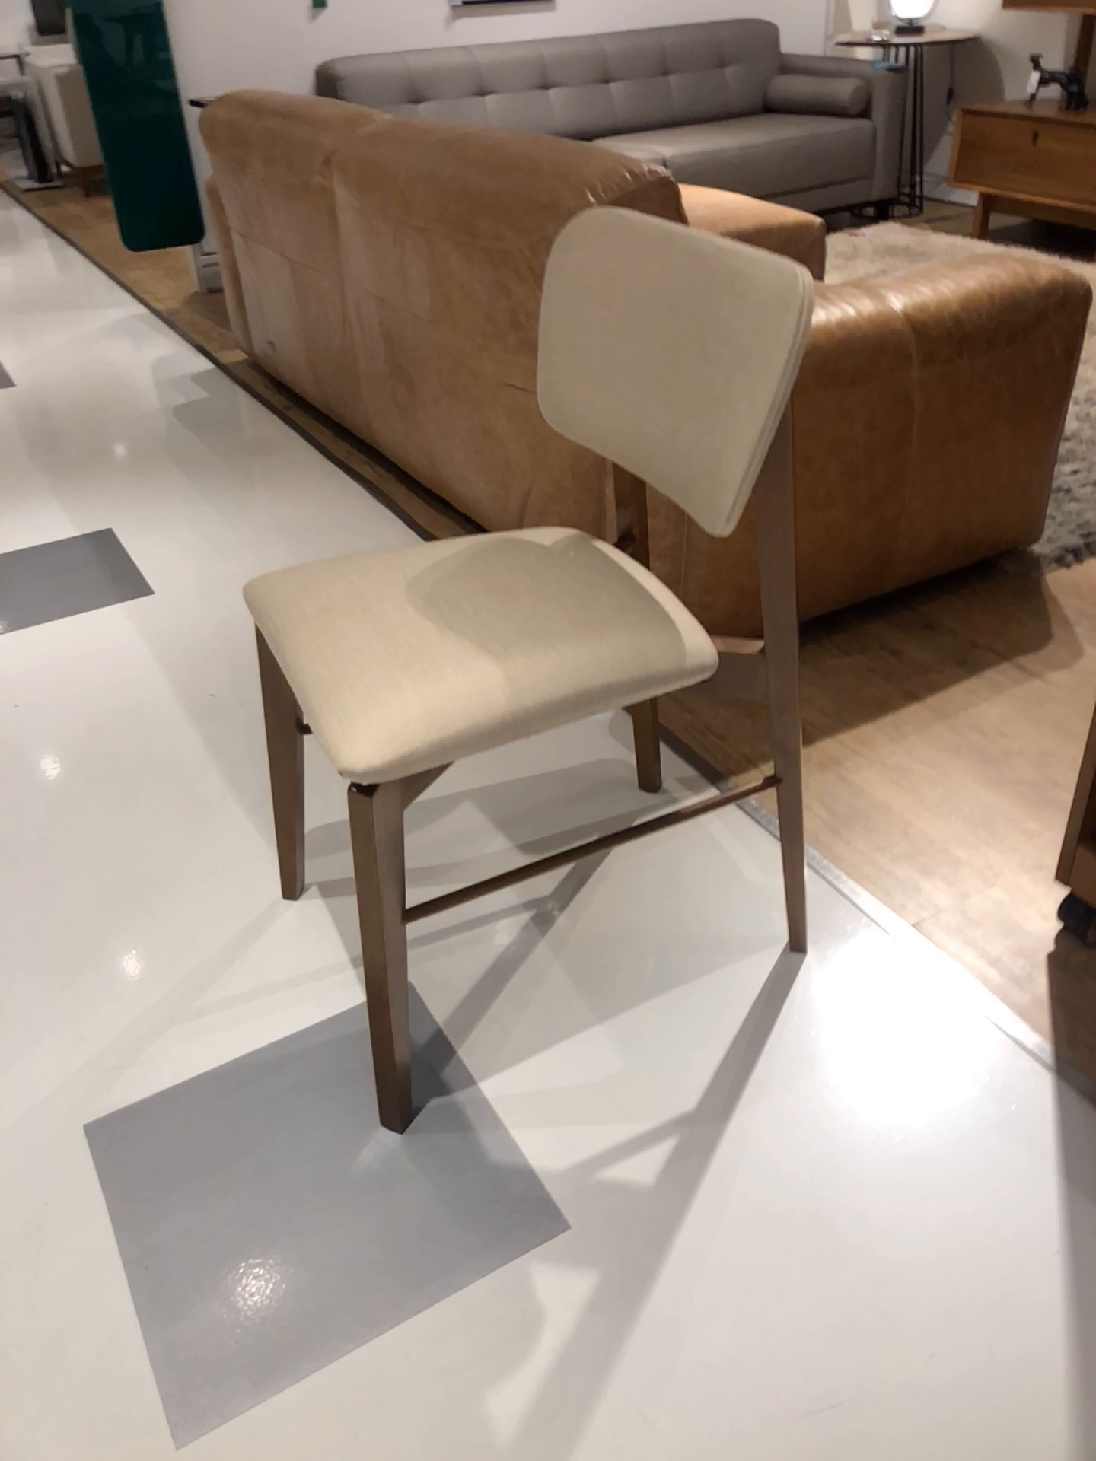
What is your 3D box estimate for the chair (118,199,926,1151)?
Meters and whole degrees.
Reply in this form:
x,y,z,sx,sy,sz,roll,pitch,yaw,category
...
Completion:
x,y,z,sx,sy,sz,roll,pitch,yaw,category
-0.041,-0.095,1.310,0.591,0.764,0.513,-16,35,-19,chair
